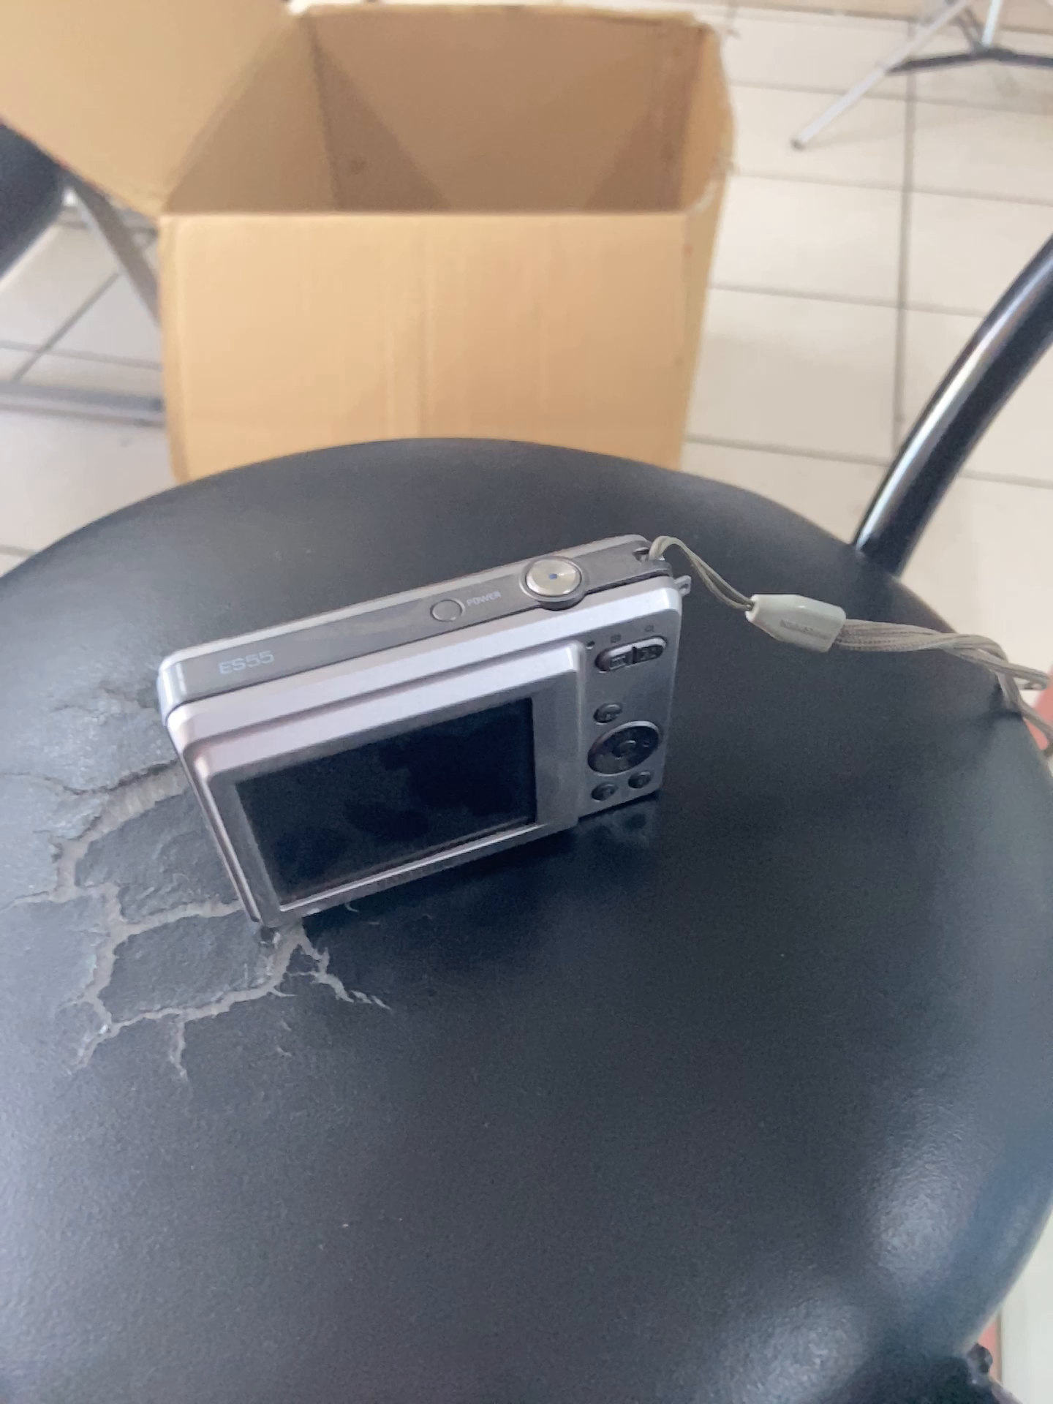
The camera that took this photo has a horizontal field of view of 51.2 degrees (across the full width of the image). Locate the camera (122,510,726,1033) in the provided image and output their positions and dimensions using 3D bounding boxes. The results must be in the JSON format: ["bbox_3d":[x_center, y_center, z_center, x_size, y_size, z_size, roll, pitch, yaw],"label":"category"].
[{"bbox_3d":[-0.017,0.014,0.204,0.090,0.070,0.040,-15,50,-13],"label":"camera"}]
